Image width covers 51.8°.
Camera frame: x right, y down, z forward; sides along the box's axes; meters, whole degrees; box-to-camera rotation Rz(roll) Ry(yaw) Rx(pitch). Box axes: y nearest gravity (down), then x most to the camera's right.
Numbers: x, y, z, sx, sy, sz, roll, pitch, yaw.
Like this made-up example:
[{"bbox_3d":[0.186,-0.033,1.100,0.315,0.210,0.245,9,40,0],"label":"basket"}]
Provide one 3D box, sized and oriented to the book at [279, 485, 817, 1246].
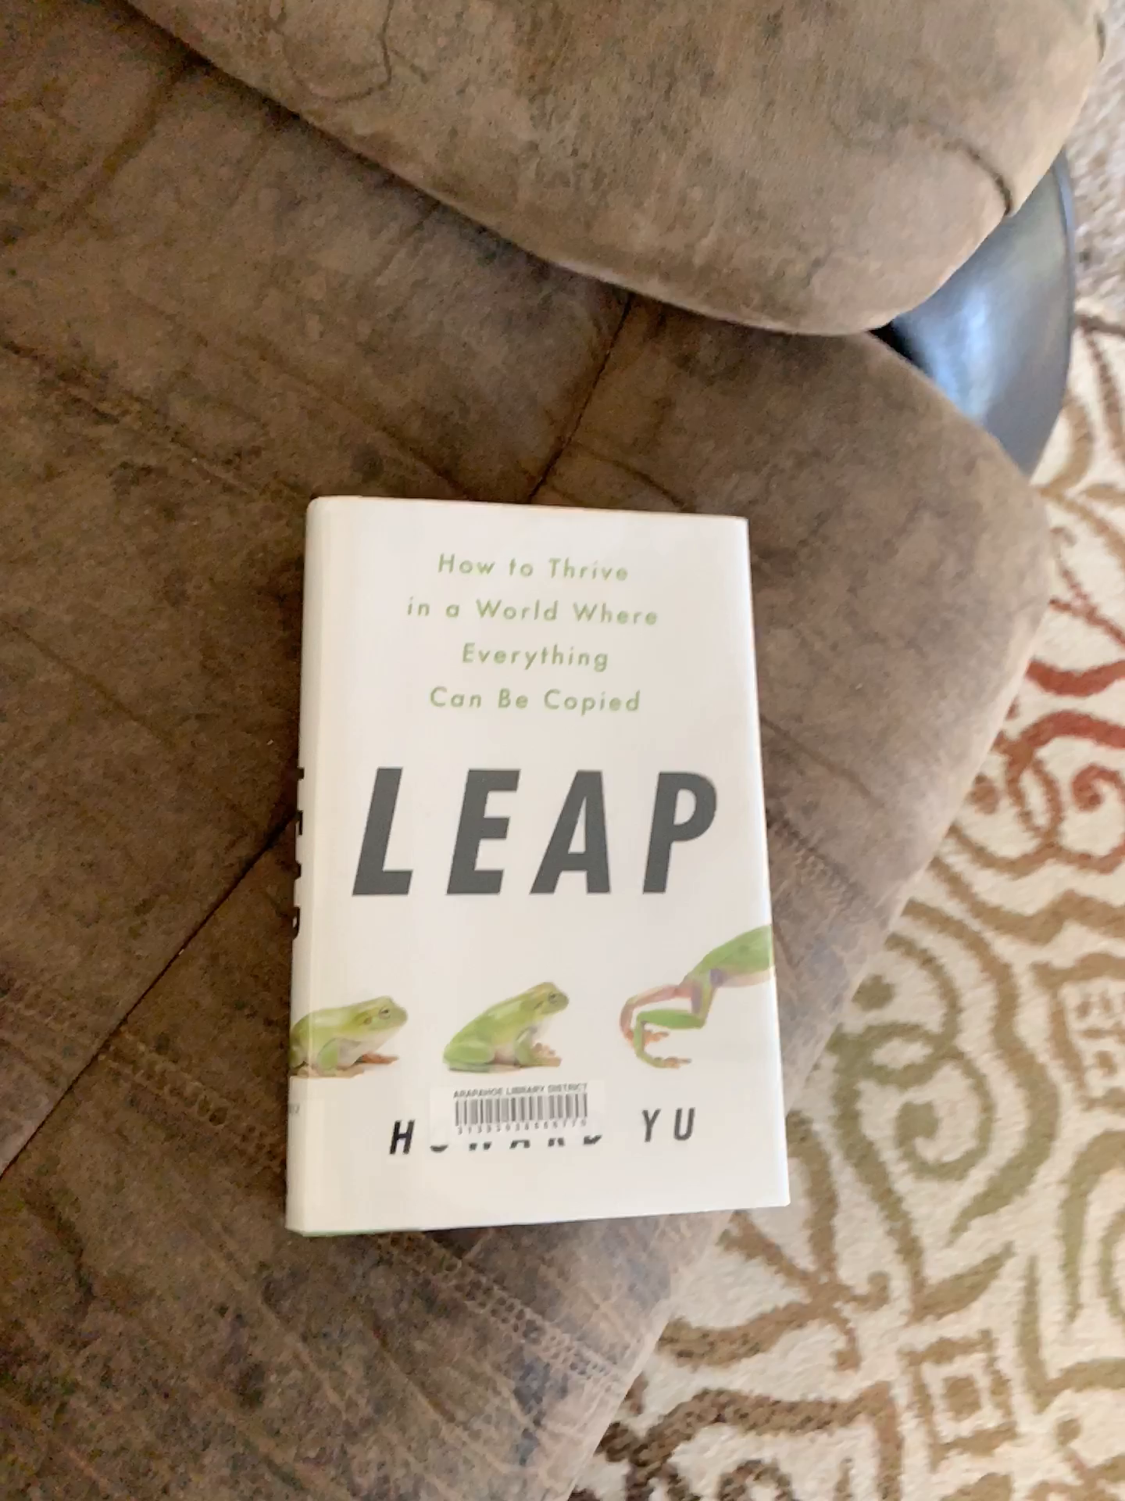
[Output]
[{"bbox_3d":[-0.010,0.030,0.388,0.160,0.040,0.235,-1,77,-8],"label":"book"}]
